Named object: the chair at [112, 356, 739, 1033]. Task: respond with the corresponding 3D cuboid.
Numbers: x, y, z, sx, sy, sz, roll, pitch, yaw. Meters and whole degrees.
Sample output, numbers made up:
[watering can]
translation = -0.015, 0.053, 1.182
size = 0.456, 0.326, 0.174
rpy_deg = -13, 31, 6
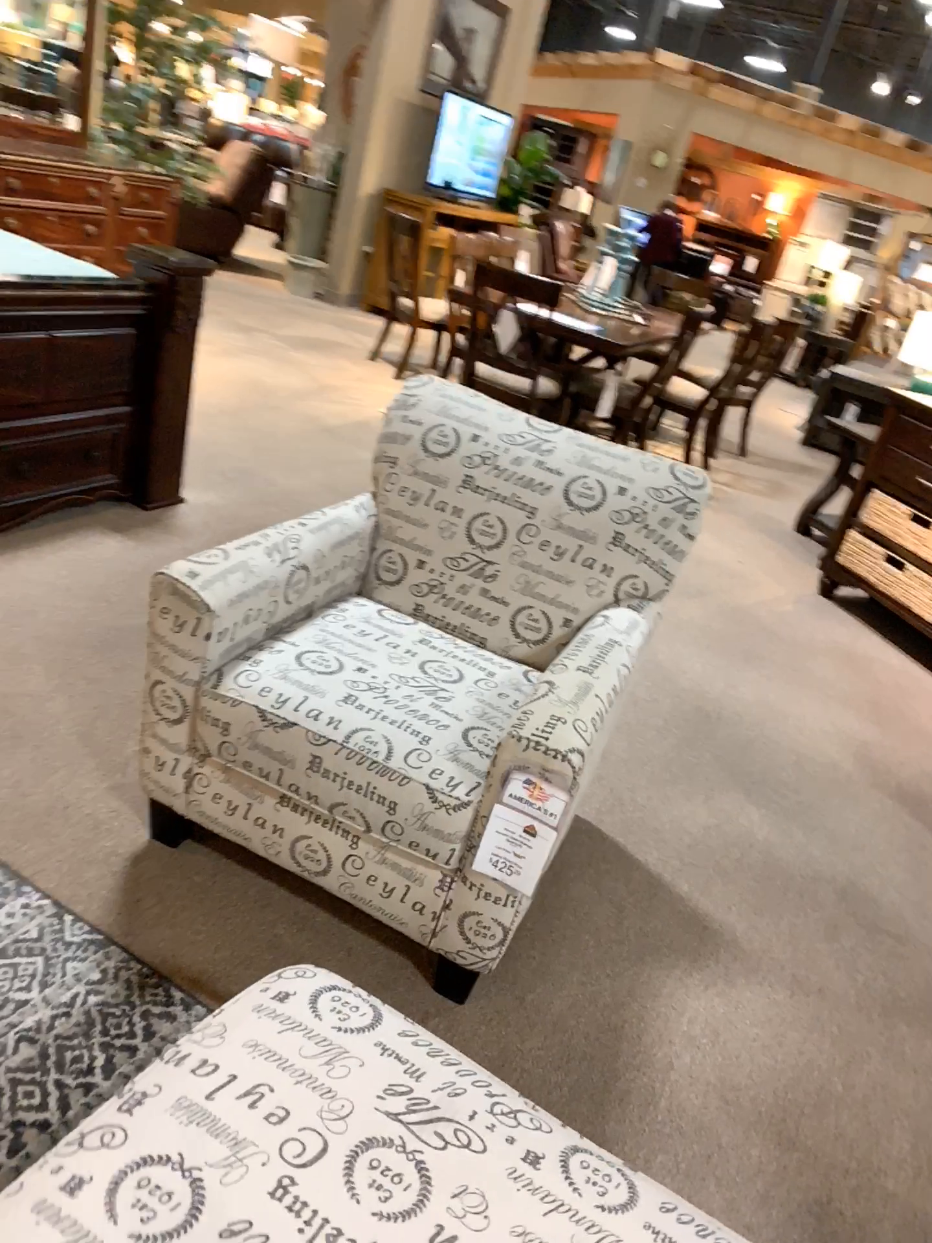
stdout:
[chair]
translation = -0.051, 0.039, 1.979
size = 0.834, 0.870, 0.919
rpy_deg = 23, 27, 15
